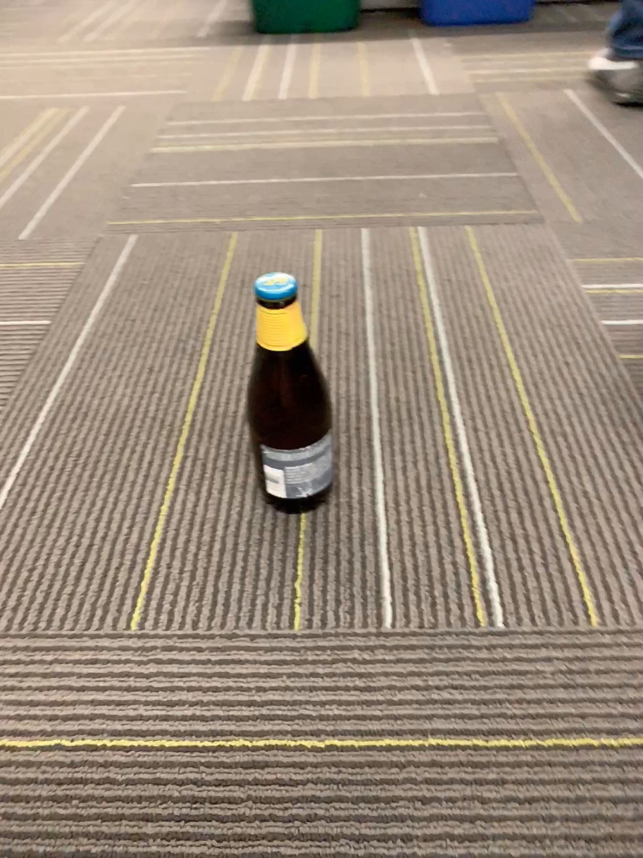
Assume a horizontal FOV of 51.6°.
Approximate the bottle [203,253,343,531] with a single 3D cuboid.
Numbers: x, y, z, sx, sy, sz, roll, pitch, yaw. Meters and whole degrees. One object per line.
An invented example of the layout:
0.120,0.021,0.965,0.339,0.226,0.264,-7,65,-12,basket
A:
-0.028,-0.020,0.463,0.060,0.179,0.060,-1,42,1,bottle
